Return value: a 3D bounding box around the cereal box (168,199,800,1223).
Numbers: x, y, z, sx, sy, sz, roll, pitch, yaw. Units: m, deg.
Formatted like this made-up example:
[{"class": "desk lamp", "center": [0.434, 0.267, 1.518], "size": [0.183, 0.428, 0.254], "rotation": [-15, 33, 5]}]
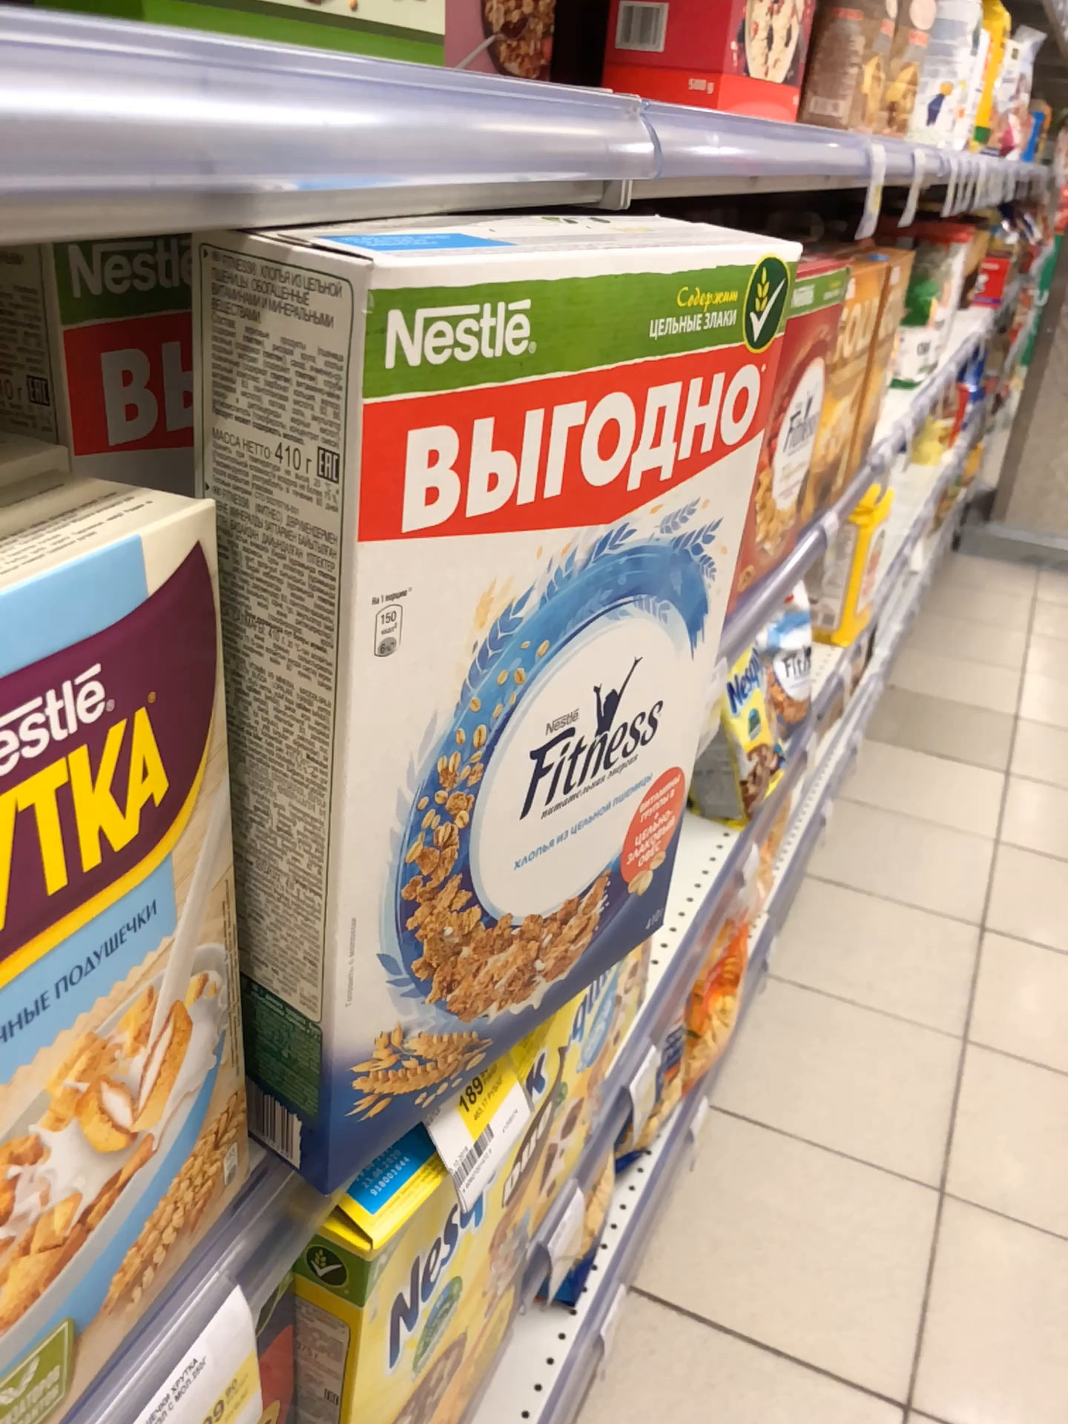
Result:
[{"class": "cereal box", "center": [-0.016, -0.009, 0.392], "size": [0.060, 0.288, 0.201], "rotation": [25, 32, 30]}]
